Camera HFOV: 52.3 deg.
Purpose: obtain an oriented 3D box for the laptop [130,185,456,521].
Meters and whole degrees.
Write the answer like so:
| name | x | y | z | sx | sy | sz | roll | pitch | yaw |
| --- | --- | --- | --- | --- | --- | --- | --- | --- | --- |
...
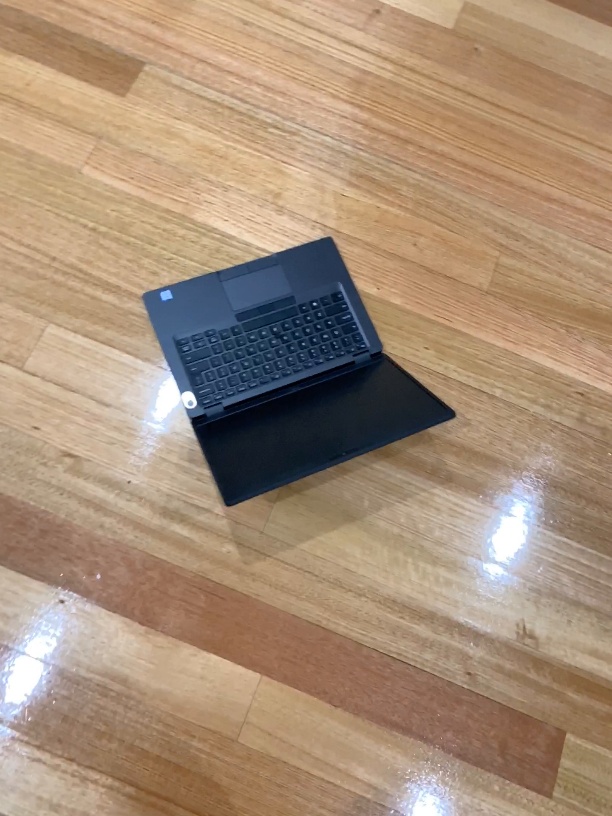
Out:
| name | x | y | z | sx | sy | sz | roll | pitch | yaw |
| --- | --- | --- | --- | --- | --- | --- | --- | --- | --- |
| laptop | -0.027 | -0.083 | 0.893 | 0.320 | 0.134 | 0.372 | -20 | 76 | -12 |
